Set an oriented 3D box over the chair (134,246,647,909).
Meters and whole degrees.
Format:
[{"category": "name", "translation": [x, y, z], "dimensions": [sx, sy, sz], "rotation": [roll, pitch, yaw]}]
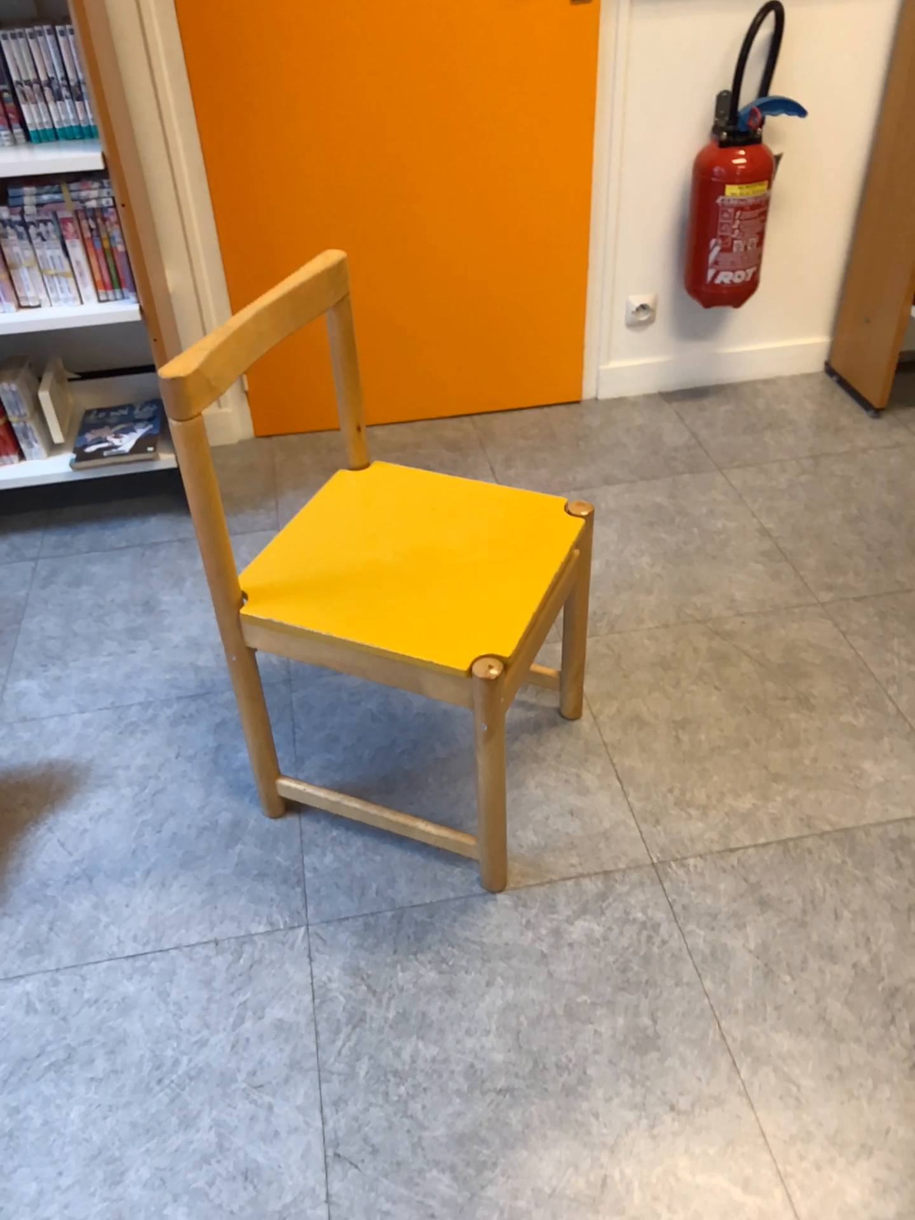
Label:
[{"category": "chair", "translation": [-0.038, -0.050, 1.322], "dimensions": [0.420, 0.666, 0.453], "rotation": [12, 41, 18]}]
